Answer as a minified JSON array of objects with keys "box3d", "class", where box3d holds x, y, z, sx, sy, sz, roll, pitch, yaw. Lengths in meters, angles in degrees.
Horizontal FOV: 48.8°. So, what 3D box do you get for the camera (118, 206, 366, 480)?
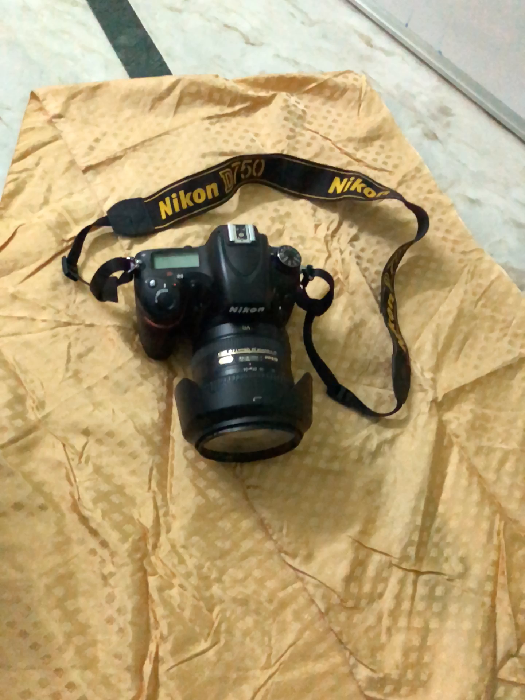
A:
[{"box3d":[-0.026,-0.005,0.444,0.149,0.110,0.170,-4,67,-11],"class":"camera"}]
